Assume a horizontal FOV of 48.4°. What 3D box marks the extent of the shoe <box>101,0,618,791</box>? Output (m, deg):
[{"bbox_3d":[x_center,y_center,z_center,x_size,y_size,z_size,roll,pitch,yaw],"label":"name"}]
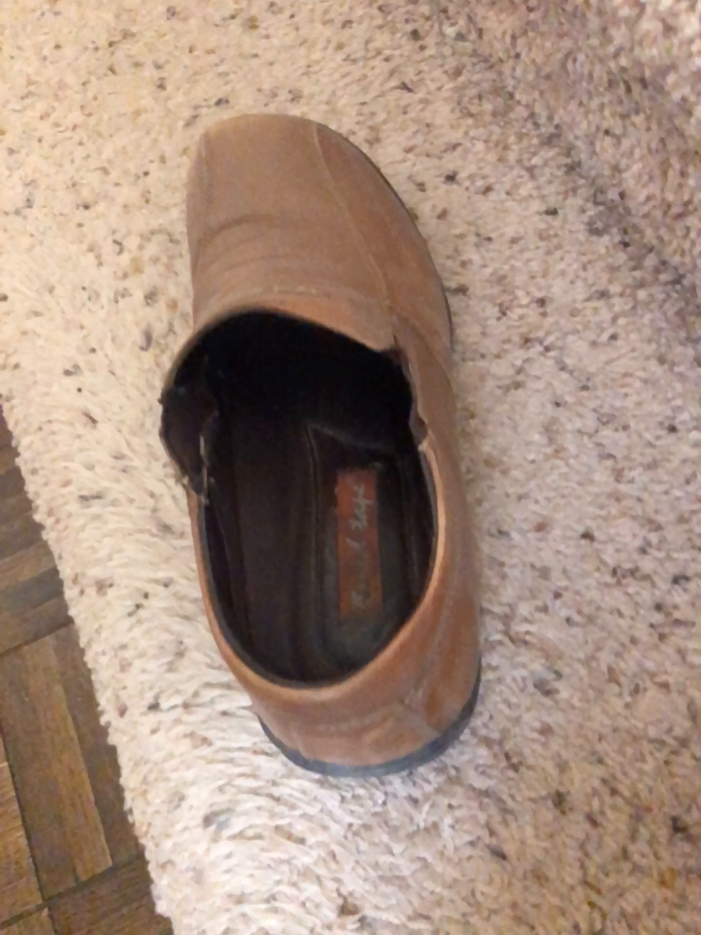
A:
[{"bbox_3d":[-0.013,-0.048,0.290,0.110,0.120,0.290,-12,63,2],"label":"shoe"}]
